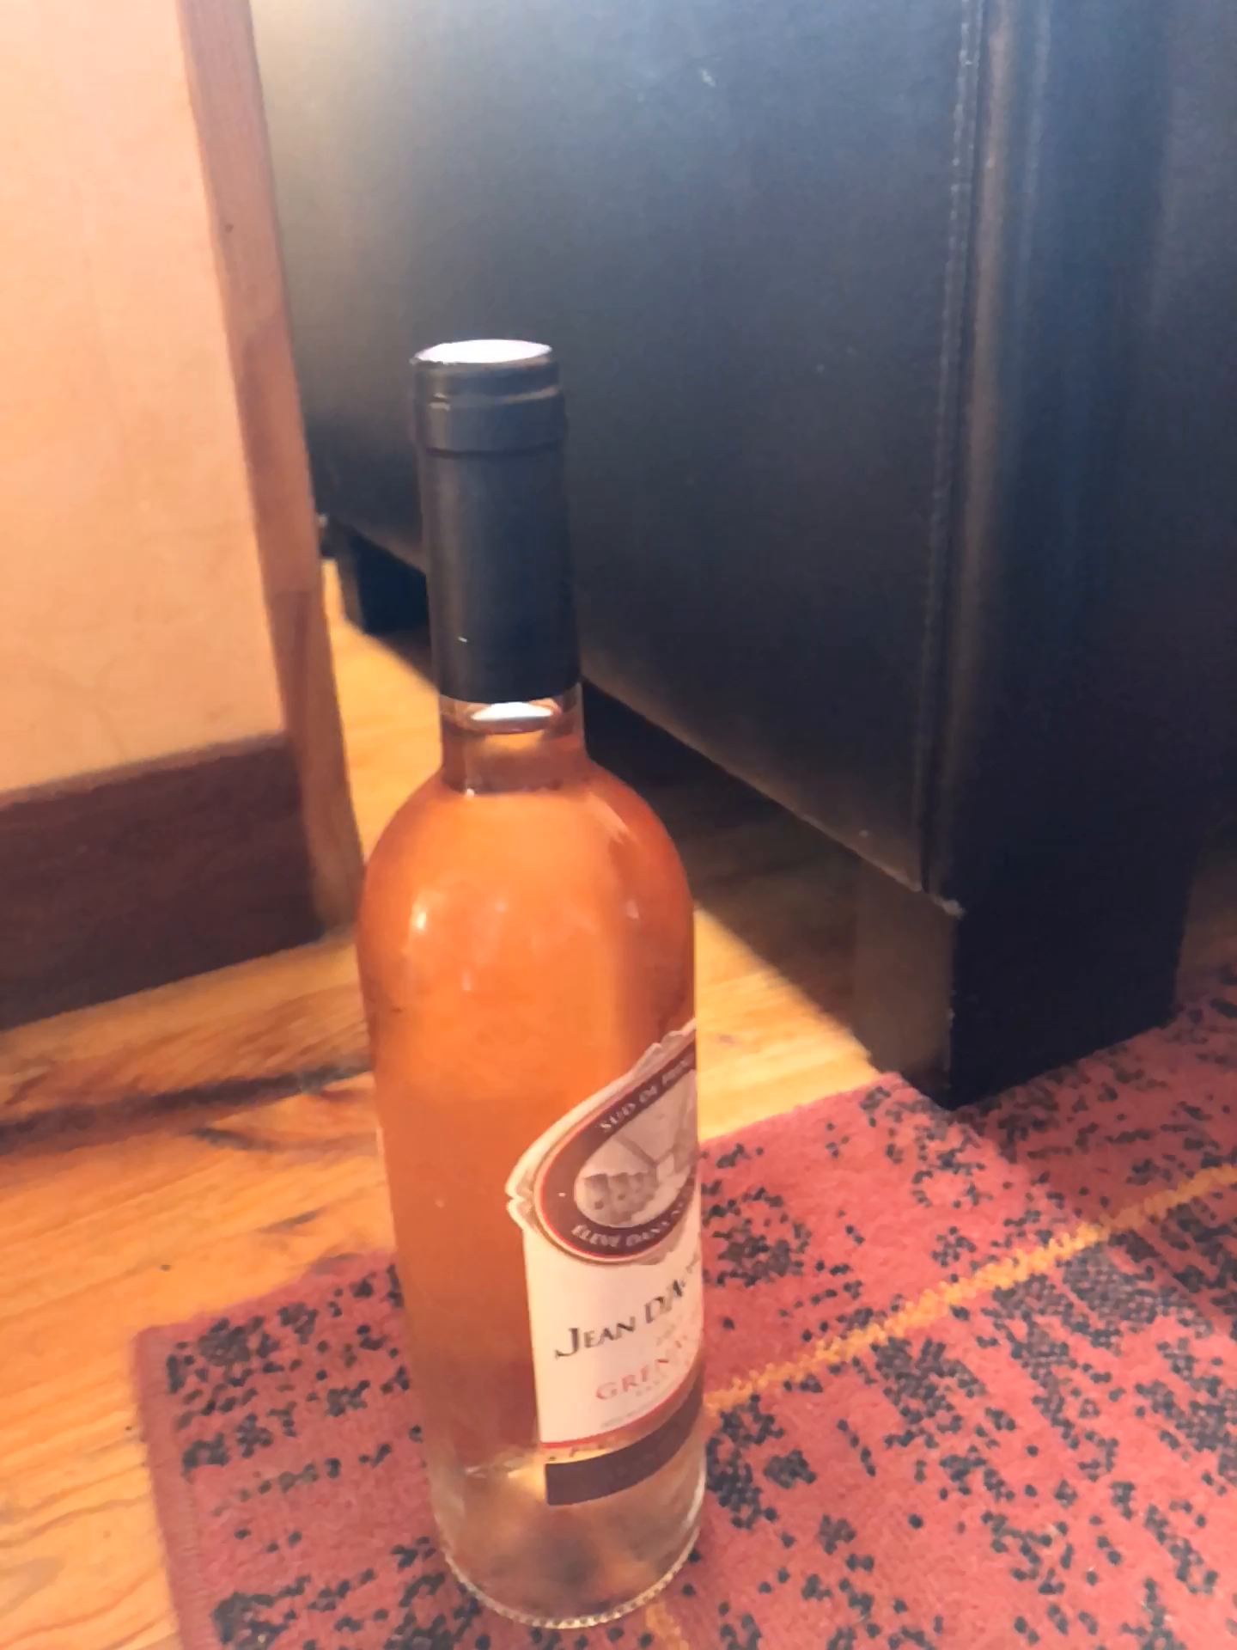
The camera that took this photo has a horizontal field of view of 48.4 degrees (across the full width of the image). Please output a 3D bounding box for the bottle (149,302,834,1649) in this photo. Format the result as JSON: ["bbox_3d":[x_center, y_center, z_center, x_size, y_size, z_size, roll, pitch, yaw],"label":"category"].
[{"bbox_3d":[-0.014,0.053,0.311,0.080,0.308,0.091,18,33,34],"label":"bottle"}]
